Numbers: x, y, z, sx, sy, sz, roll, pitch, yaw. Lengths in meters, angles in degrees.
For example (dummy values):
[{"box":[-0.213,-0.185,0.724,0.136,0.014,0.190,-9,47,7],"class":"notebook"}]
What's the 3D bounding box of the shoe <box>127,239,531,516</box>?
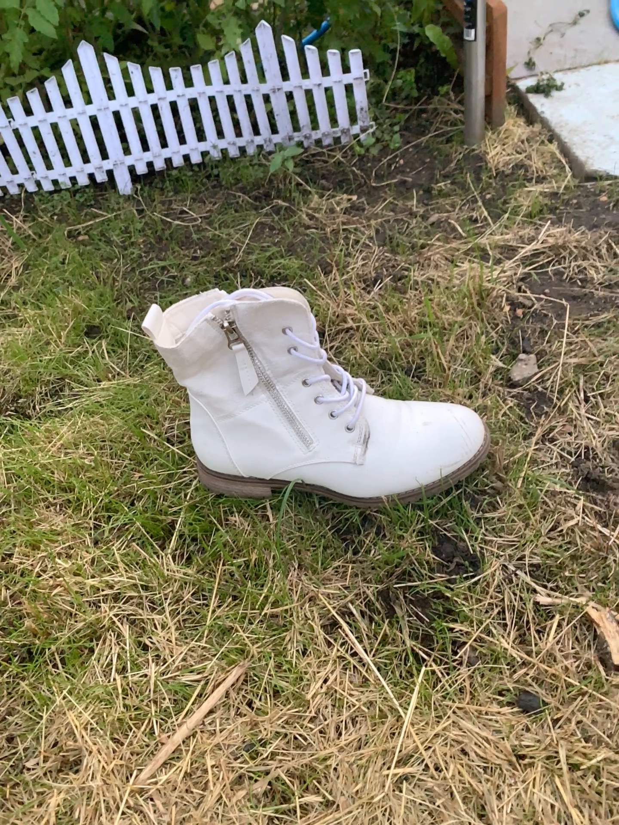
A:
[{"box":[0.022,-0.017,0.502,0.260,0.178,0.101,-4,46,8],"class":"shoe"}]
